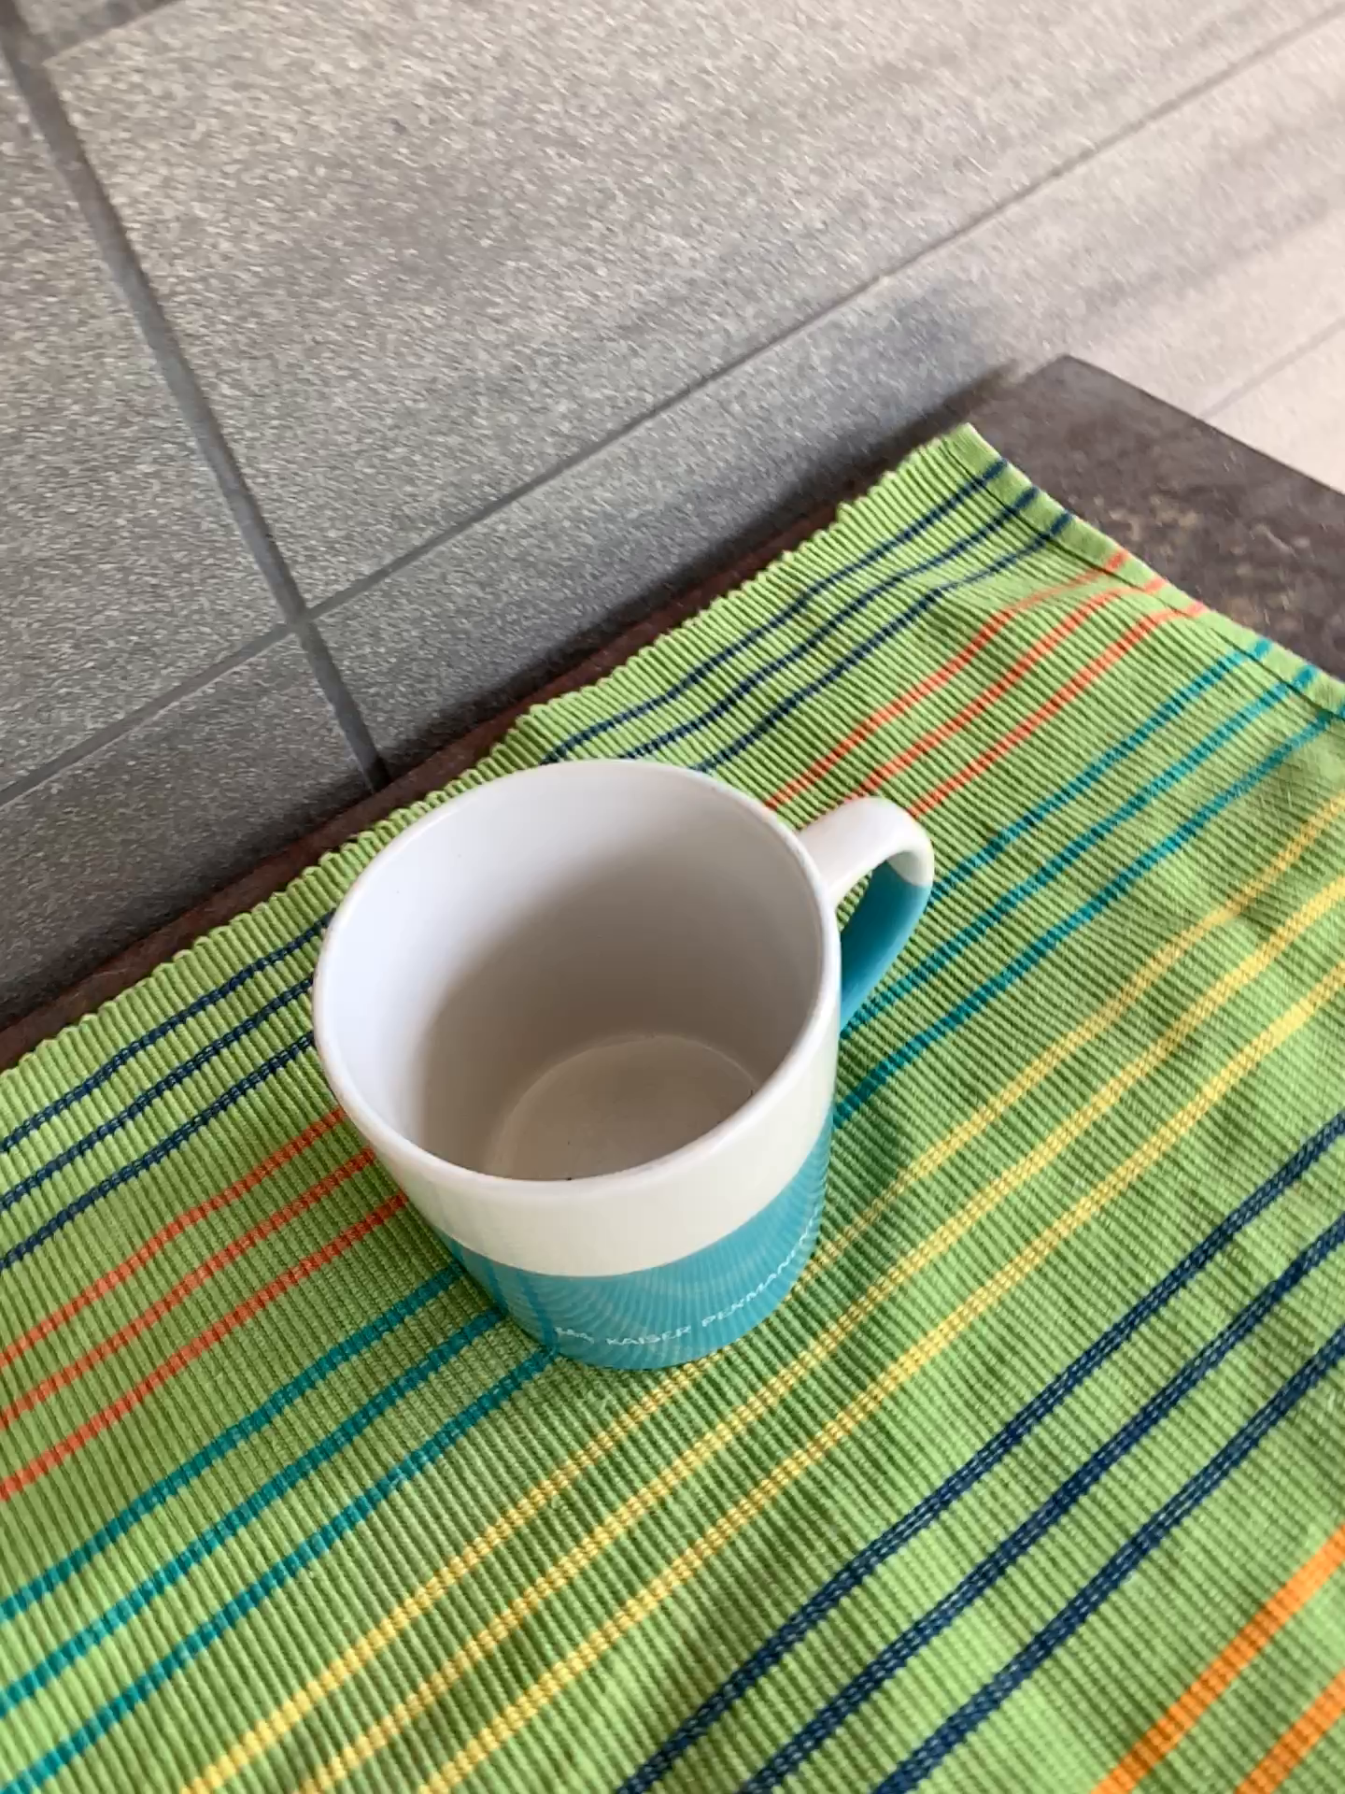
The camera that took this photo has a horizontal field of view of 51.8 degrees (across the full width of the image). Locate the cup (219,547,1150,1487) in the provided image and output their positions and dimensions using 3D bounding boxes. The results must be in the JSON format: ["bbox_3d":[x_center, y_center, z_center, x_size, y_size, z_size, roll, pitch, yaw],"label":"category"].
[{"bbox_3d":[0.008,0.022,0.292,0.140,0.100,0.100,-37,55,-17],"label":"cup"}]
